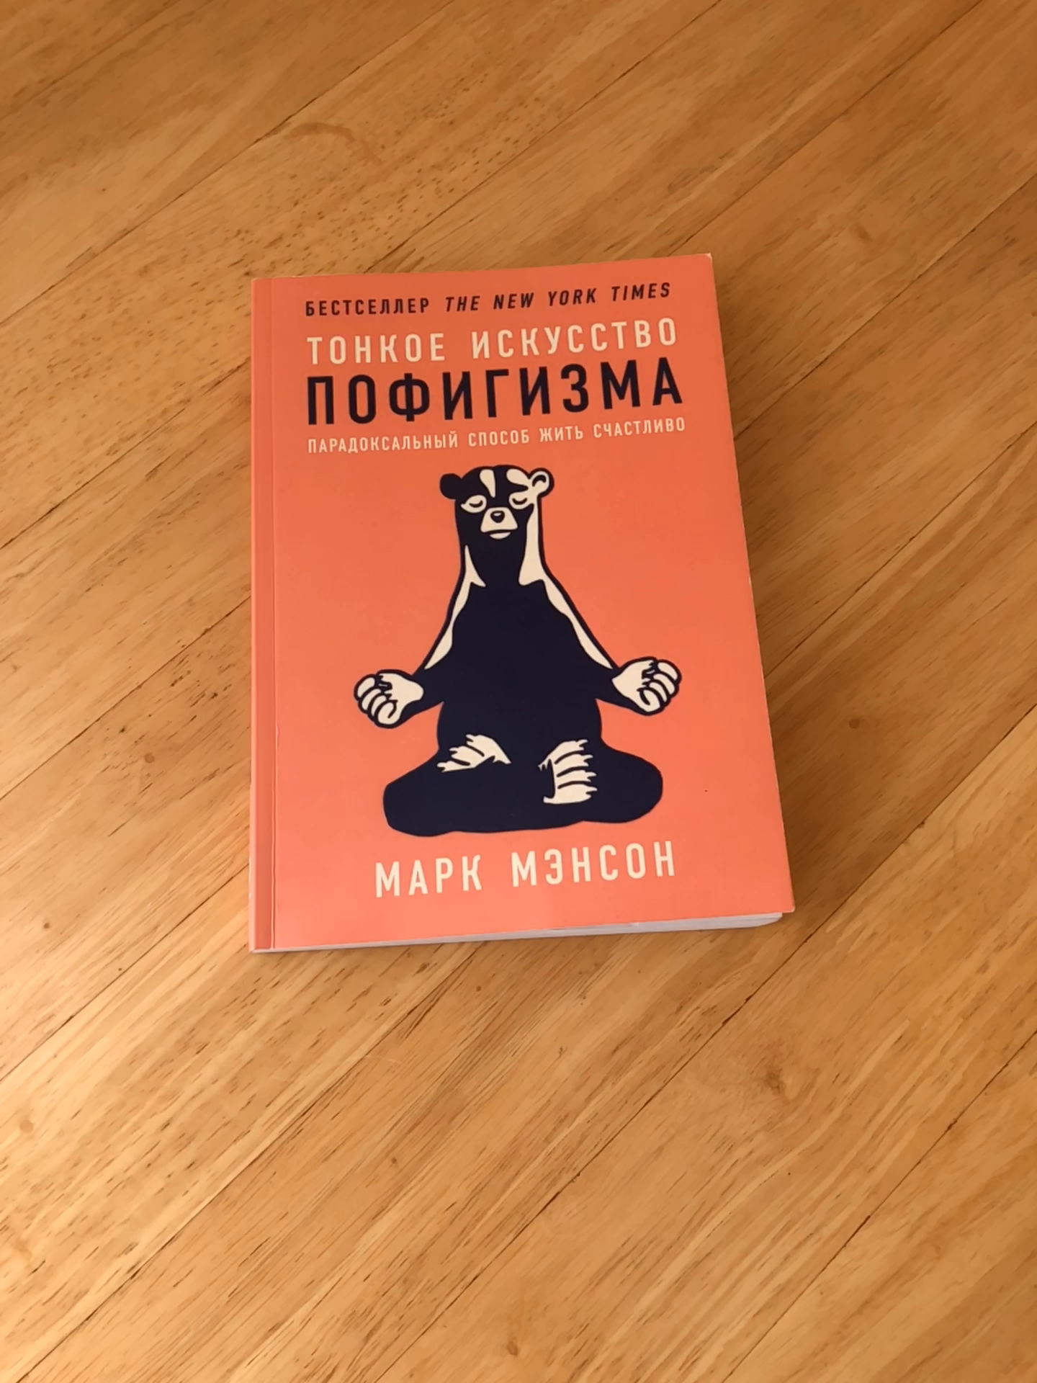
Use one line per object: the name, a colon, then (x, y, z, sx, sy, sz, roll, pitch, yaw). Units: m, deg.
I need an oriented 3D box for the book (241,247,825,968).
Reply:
book: (-0.002, -0.029, 0.327, 0.143, 0.033, 0.197, -3, 74, -4)
